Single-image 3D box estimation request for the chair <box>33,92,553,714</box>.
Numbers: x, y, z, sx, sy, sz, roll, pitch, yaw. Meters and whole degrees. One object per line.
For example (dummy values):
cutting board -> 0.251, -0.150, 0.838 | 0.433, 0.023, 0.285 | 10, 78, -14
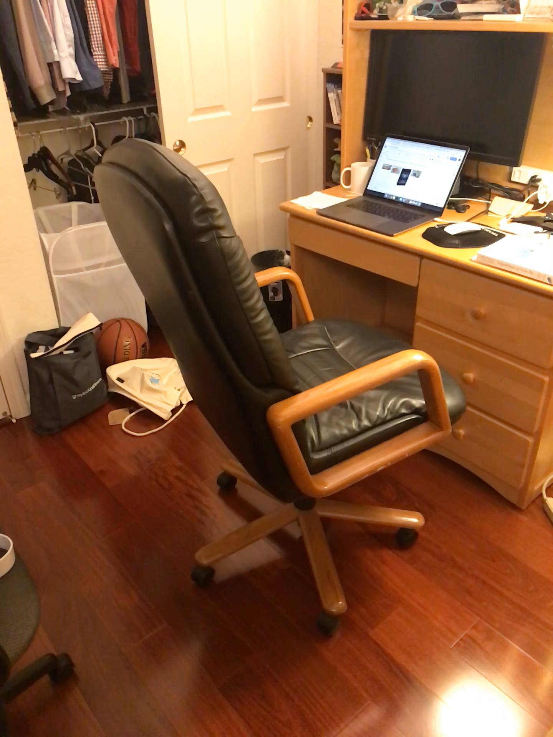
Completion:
chair -> -0.006, -0.038, 1.610 | 0.852, 1.141, 0.995 | -16, 34, -23
